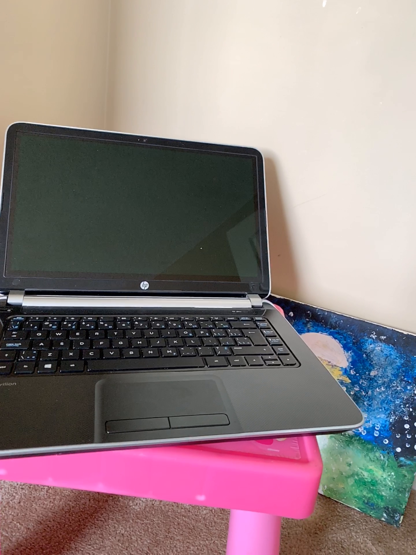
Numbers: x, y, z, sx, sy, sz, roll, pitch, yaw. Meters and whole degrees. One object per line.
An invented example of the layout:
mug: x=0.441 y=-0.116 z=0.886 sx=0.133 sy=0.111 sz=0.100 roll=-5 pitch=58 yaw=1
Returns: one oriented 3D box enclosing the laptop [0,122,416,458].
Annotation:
laptop: x=-0.044 y=-0.023 z=0.377 sx=0.274 sy=0.161 sz=0.272 roll=1 pitch=24 yaw=-15
